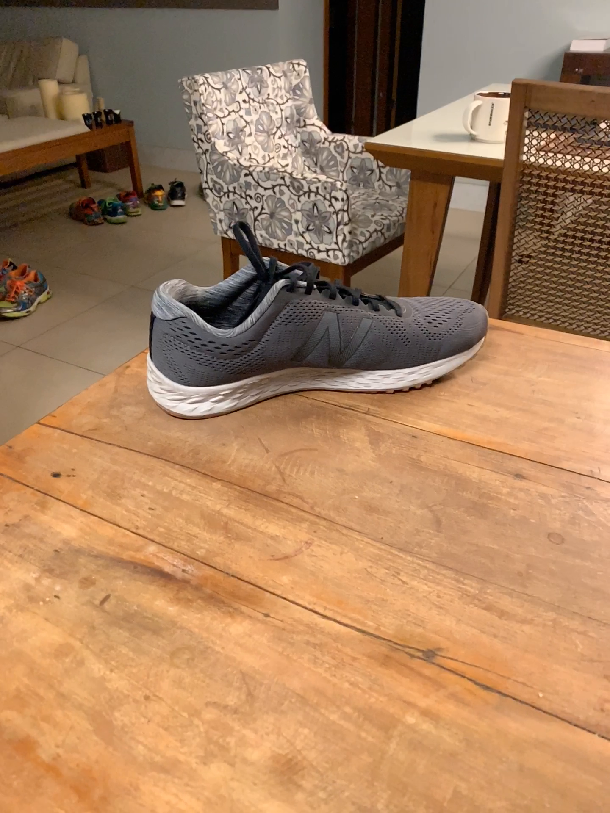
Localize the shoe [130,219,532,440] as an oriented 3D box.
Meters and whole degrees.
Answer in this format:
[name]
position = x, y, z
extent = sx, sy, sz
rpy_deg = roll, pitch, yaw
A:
[shoe]
position = 0.017, -0.073, 0.526
extent = 0.300, 0.109, 0.111
rpy_deg = -9, 35, -12
